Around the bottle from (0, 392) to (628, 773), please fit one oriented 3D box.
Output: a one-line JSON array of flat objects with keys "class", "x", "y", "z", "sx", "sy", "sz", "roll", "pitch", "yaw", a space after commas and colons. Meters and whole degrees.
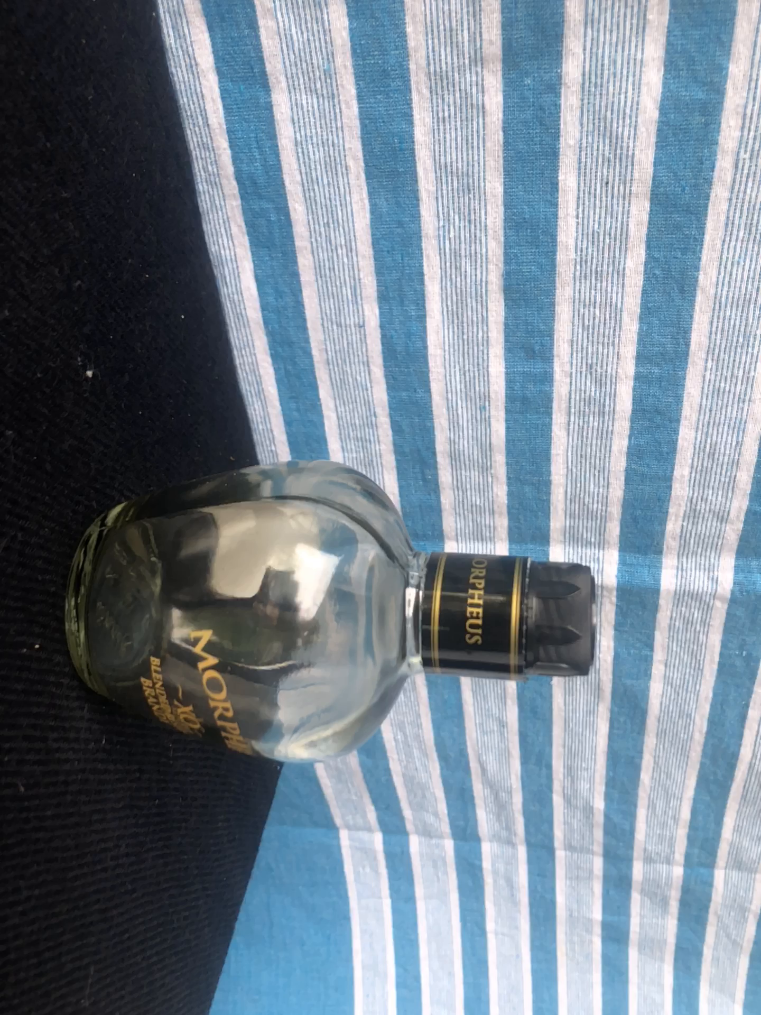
[{"class": "bottle", "x": -0.009, "y": 0.018, "z": 0.210, "sx": 0.070, "sy": 0.129, "sz": 0.050, "roll": 82, "pitch": 17, "yaw": -46}]
